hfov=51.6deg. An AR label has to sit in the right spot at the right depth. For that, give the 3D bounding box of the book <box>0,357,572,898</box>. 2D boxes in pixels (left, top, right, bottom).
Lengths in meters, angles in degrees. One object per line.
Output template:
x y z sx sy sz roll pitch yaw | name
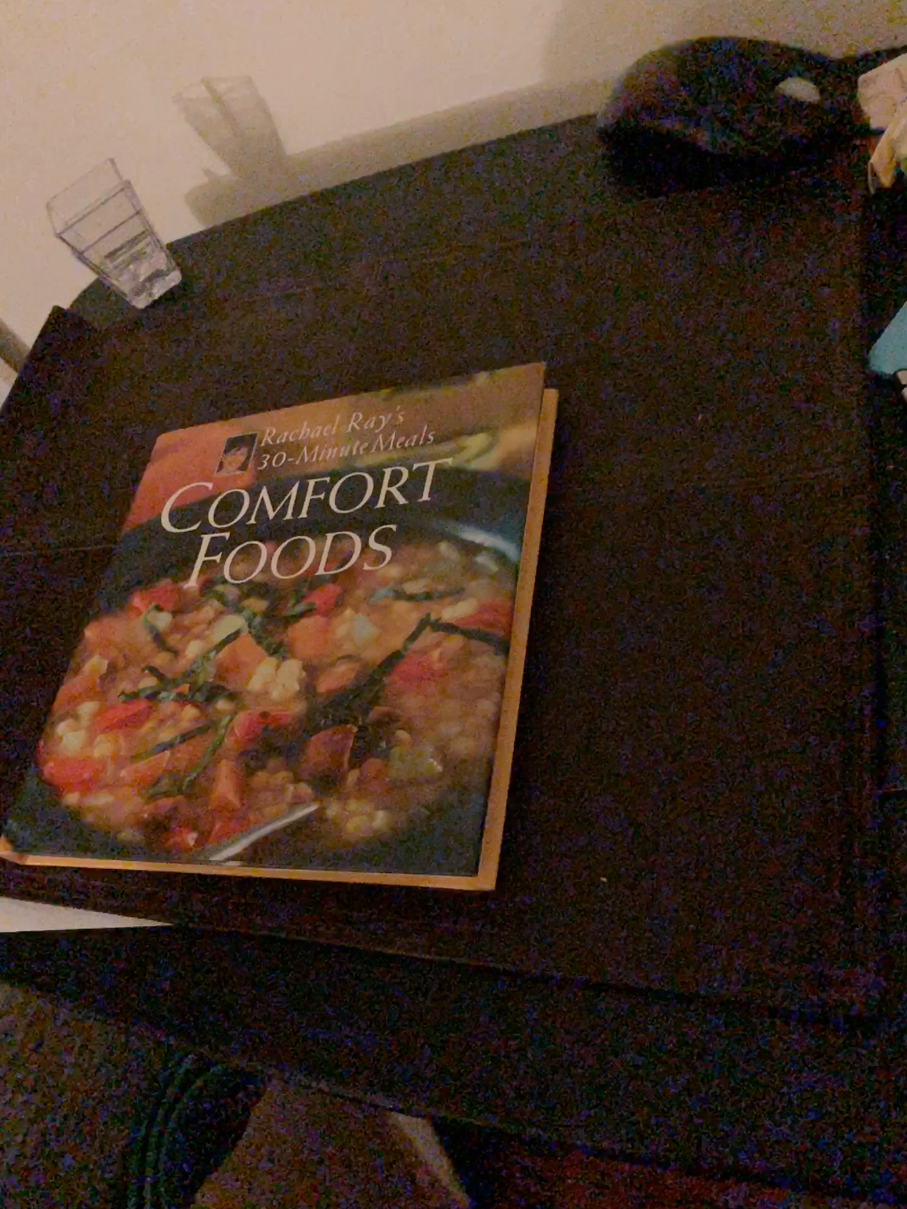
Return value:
-0.062 0.004 0.361 0.201 0.020 0.200 -5 57 25 | book
